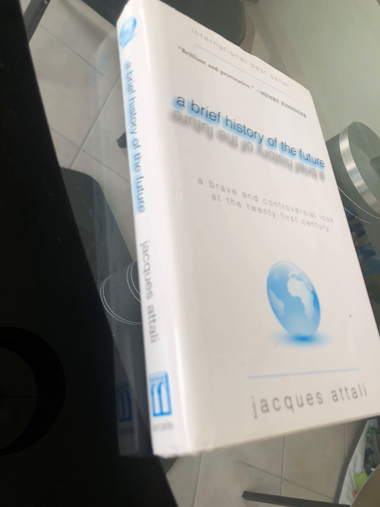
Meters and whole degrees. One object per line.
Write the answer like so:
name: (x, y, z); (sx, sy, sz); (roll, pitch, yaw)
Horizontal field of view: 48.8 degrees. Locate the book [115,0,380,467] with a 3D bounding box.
book: (0.042, -0.021, 0.214); (0.151, 0.040, 0.210); (11, 63, -38)
